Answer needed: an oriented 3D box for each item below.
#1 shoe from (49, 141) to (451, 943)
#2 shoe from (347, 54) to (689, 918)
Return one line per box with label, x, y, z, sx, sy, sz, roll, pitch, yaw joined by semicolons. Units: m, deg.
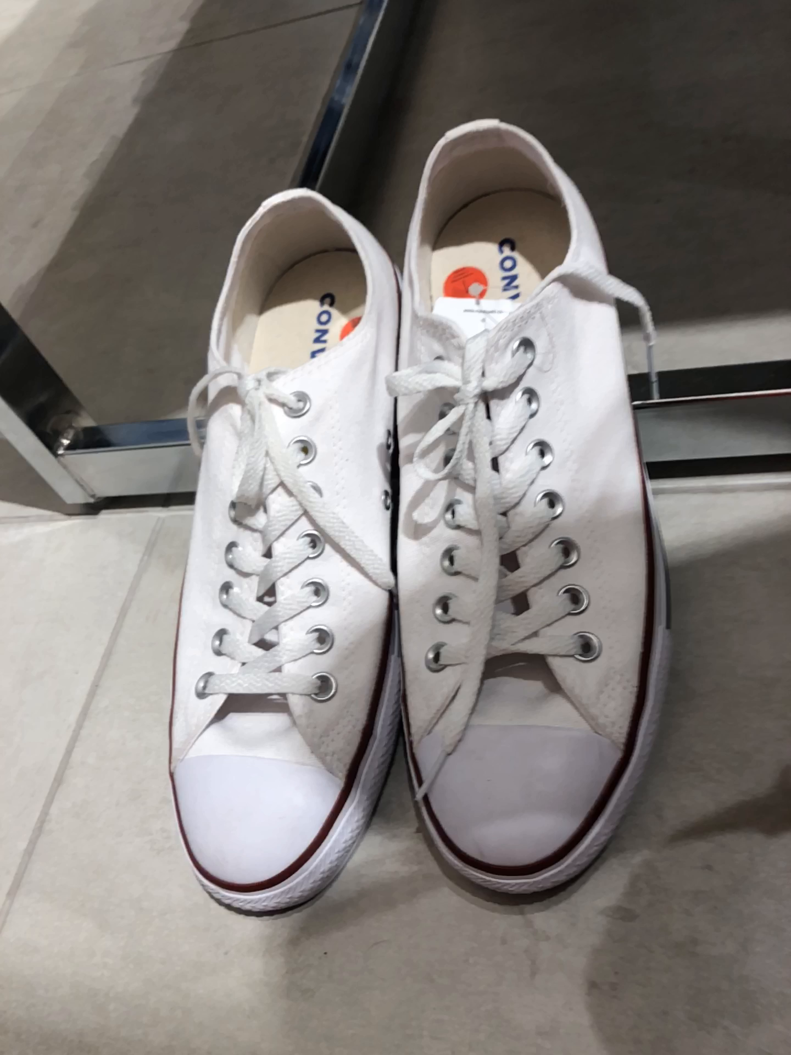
shoe;-0.048;0.001;0.370;0.110;0.090;0.291;-2;75;21
shoe;0.051;-0.018;0.340;0.100;0.090;0.291;-4;74;20
